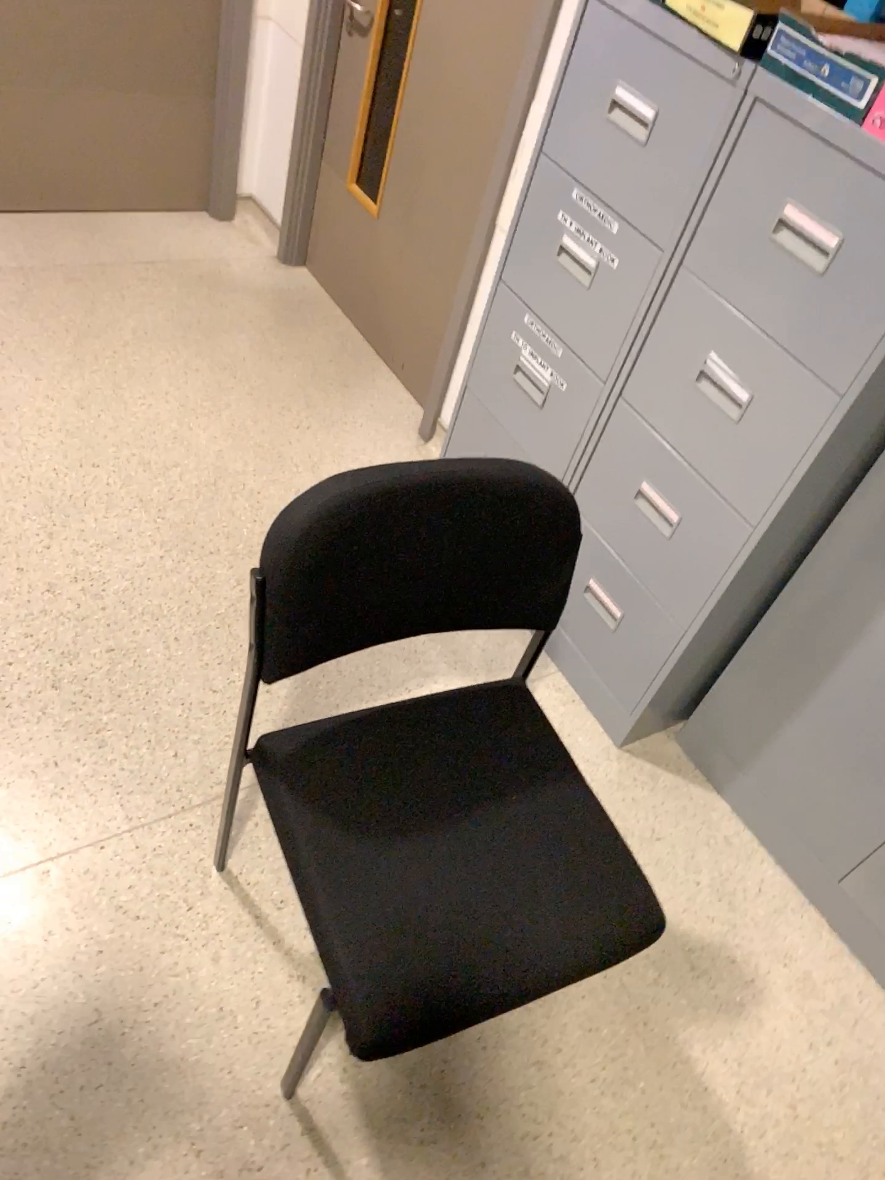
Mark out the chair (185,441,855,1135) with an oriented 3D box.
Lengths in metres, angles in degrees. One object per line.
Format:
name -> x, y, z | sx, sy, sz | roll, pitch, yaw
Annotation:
chair -> 0.006, 0.299, 1.404 | 0.632, 0.832, 0.584 | -9, 50, -27
